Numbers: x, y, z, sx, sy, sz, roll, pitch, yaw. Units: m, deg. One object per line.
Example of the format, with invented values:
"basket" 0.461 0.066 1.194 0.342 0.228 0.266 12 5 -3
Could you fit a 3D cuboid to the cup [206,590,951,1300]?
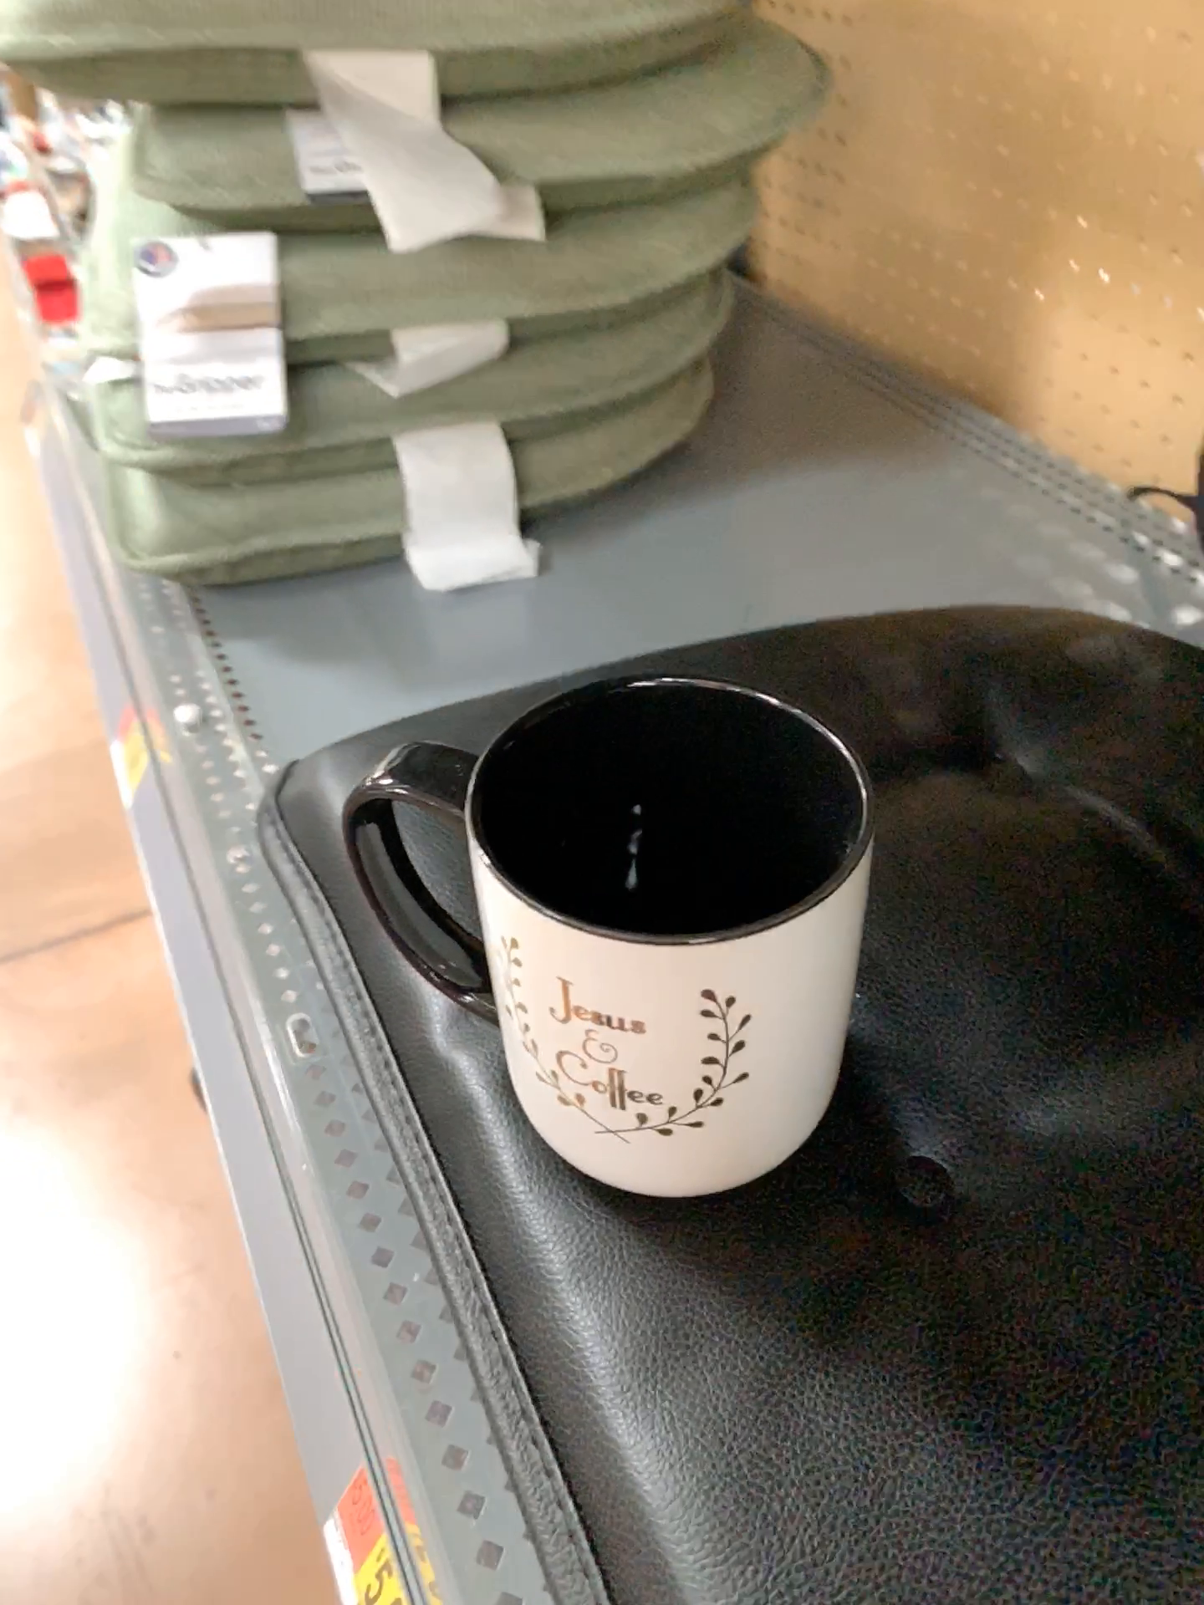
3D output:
"cup" -0.001 0.028 0.321 0.142 0.104 0.102 16 42 23
